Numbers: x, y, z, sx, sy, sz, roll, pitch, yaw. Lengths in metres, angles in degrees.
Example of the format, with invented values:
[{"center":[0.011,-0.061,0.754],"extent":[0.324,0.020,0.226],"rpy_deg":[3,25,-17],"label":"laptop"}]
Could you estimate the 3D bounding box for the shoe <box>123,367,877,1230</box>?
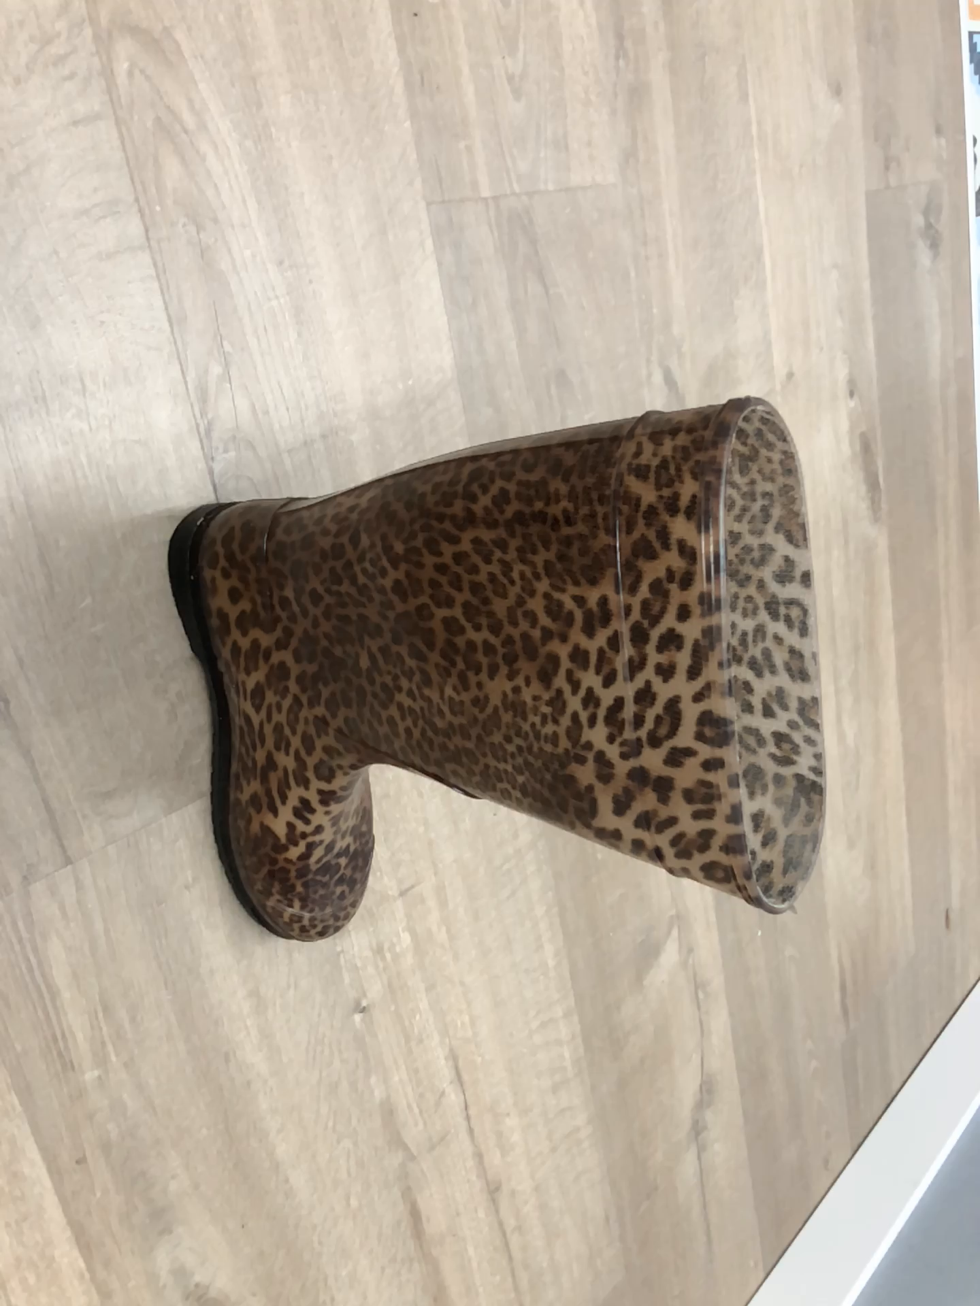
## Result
[{"center":[-0.013,0.034,0.481],"extent":[0.090,0.338,0.280],"rpy_deg":[-21,111,-42],"label":"shoe"}]
